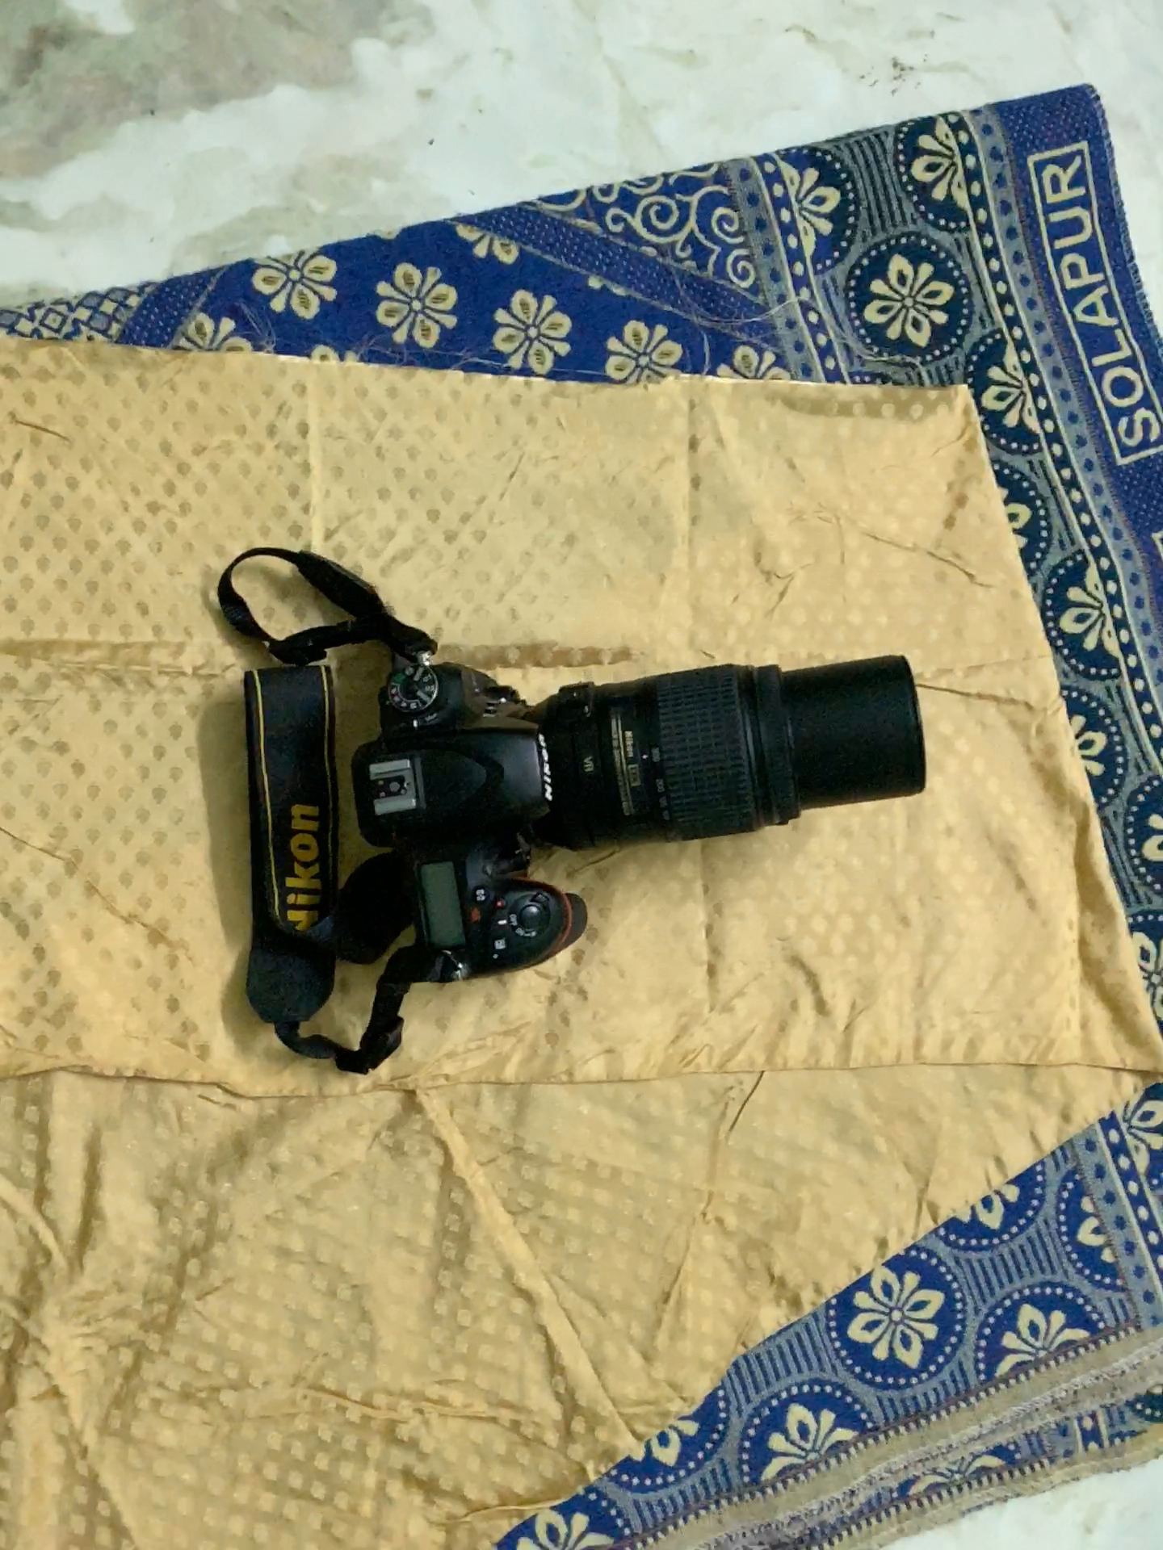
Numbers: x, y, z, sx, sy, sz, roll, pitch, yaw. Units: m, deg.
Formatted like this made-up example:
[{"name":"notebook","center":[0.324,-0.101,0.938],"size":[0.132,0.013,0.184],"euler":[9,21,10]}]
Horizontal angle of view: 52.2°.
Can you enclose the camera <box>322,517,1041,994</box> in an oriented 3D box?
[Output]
[{"name":"camera","center":[0.039,0.000,0.514],"size":[0.240,0.180,0.140],"euler":[-8,85,4]}]
